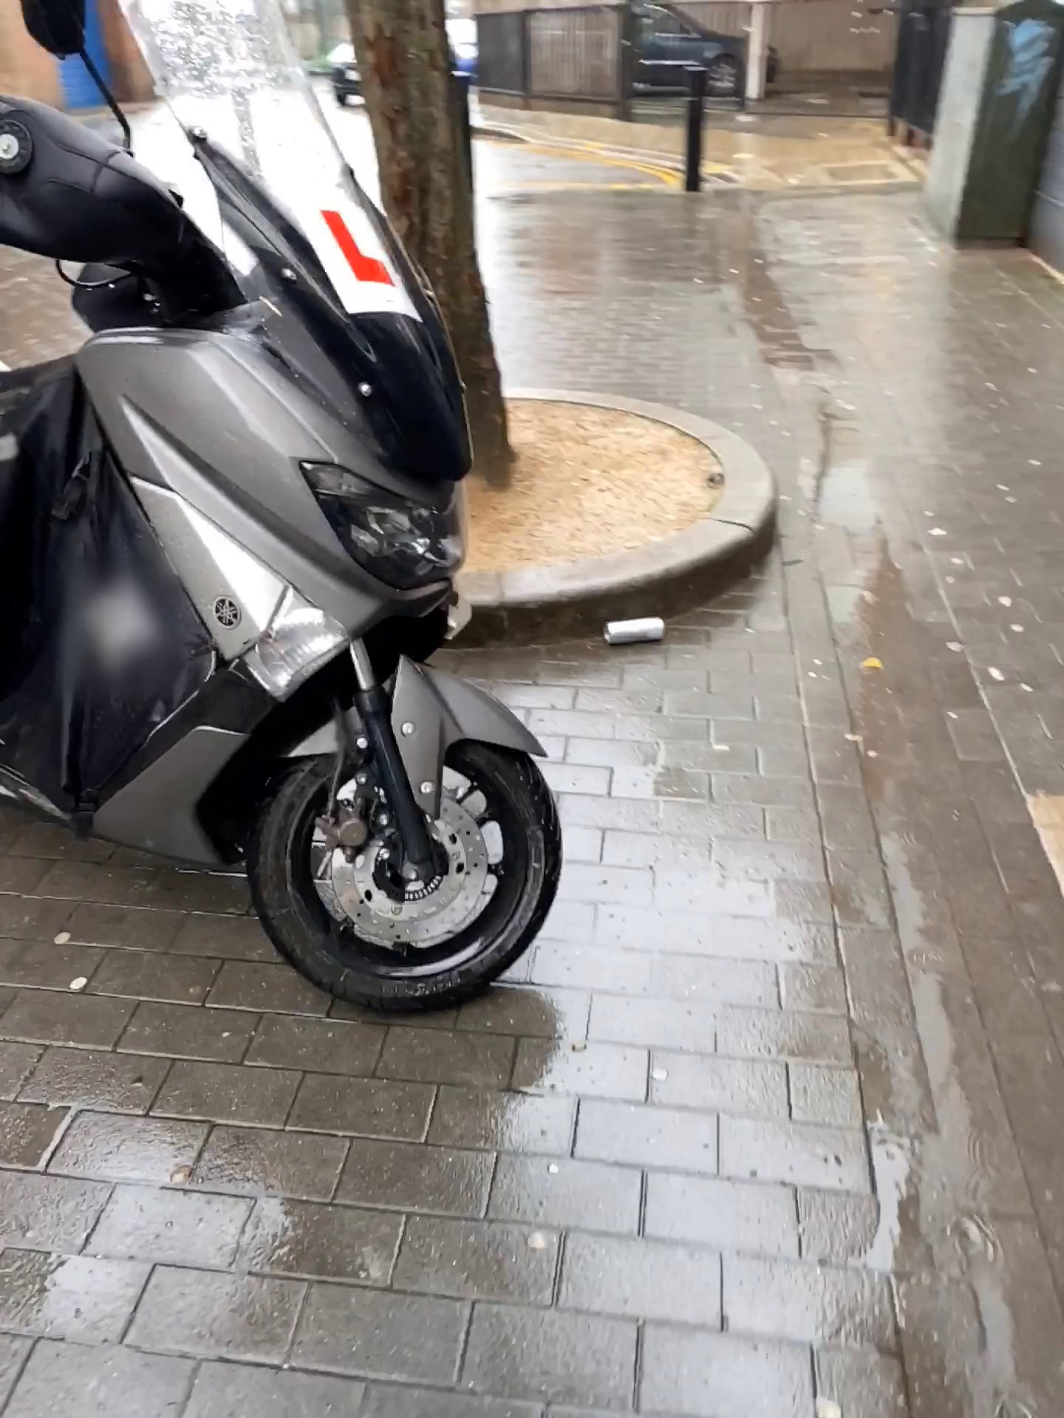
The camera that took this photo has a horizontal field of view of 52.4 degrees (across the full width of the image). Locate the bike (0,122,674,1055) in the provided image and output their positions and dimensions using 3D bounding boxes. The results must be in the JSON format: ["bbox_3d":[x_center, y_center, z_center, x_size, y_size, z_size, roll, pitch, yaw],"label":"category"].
[{"bbox_3d":[-0.723,-0.332,1.886,1.732,1.121,0.763,12,34,20],"label":"bike"}]
